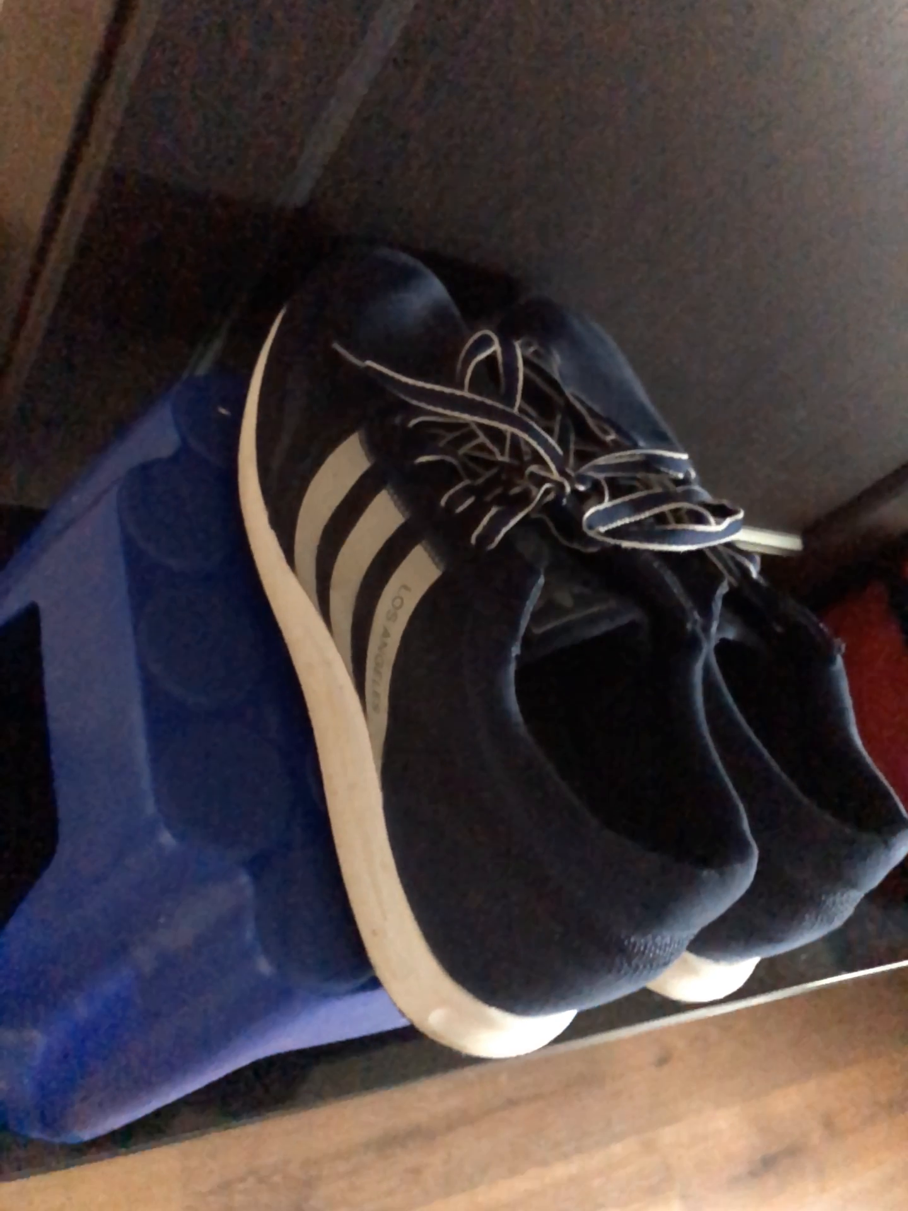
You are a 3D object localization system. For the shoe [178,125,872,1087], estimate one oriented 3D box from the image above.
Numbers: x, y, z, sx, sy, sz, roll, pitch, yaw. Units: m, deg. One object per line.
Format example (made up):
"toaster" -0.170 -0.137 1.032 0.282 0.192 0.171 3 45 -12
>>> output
"shoe" 0.004 -0.005 0.329 0.110 0.109 0.261 1 61 -36

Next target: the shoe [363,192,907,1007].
"shoe" 0.064 -0.006 0.380 0.110 0.109 0.261 4 59 -35
